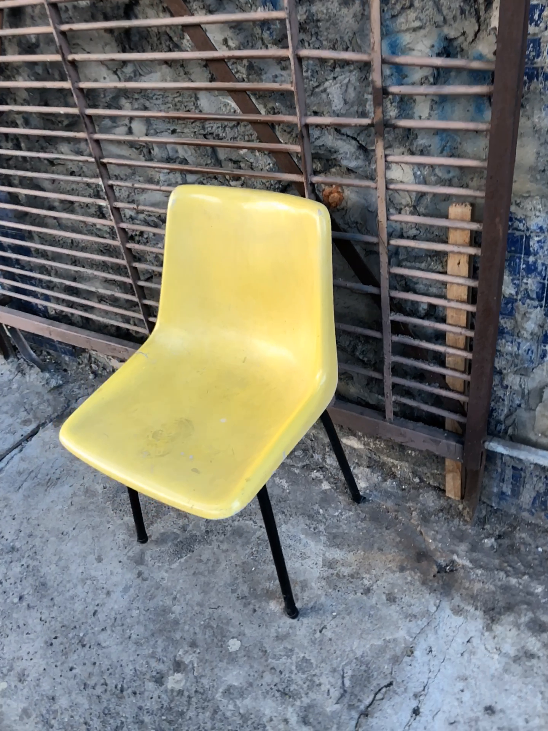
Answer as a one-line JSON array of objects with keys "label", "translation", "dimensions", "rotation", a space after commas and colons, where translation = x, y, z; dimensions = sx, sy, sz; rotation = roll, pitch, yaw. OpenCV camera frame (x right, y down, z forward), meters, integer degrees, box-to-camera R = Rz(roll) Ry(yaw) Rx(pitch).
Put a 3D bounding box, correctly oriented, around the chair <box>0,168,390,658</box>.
[{"label": "chair", "translation": [-0.107, 0.065, 1.180], "dimensions": [0.481, 0.715, 0.472], "rotation": [16, 43, 32]}]
